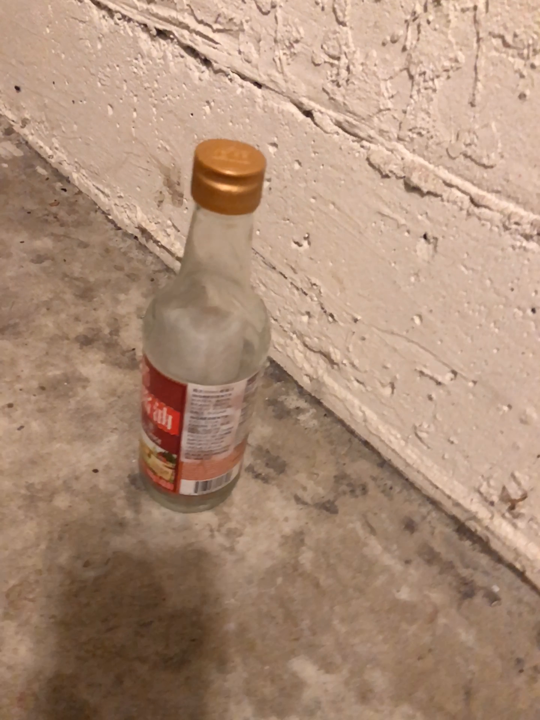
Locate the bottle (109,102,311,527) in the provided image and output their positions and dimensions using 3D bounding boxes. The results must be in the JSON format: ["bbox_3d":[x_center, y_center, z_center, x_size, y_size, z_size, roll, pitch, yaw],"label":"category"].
[{"bbox_3d":[-0.044,-0.008,0.321,0.070,0.229,0.070,6,42,-6],"label":"bottle"}]
